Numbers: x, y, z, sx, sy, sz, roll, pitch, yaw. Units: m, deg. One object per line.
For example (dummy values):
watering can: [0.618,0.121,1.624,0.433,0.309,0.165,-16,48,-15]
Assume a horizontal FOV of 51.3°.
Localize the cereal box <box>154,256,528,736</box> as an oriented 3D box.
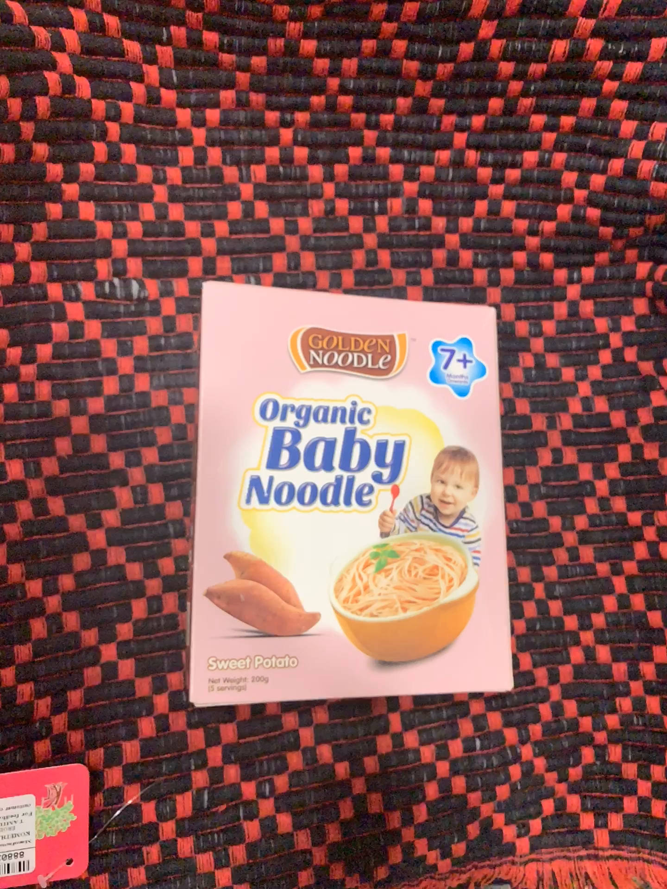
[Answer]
cereal box: [0.001,0.019,0.270,0.130,0.050,0.160,2,82,-13]
